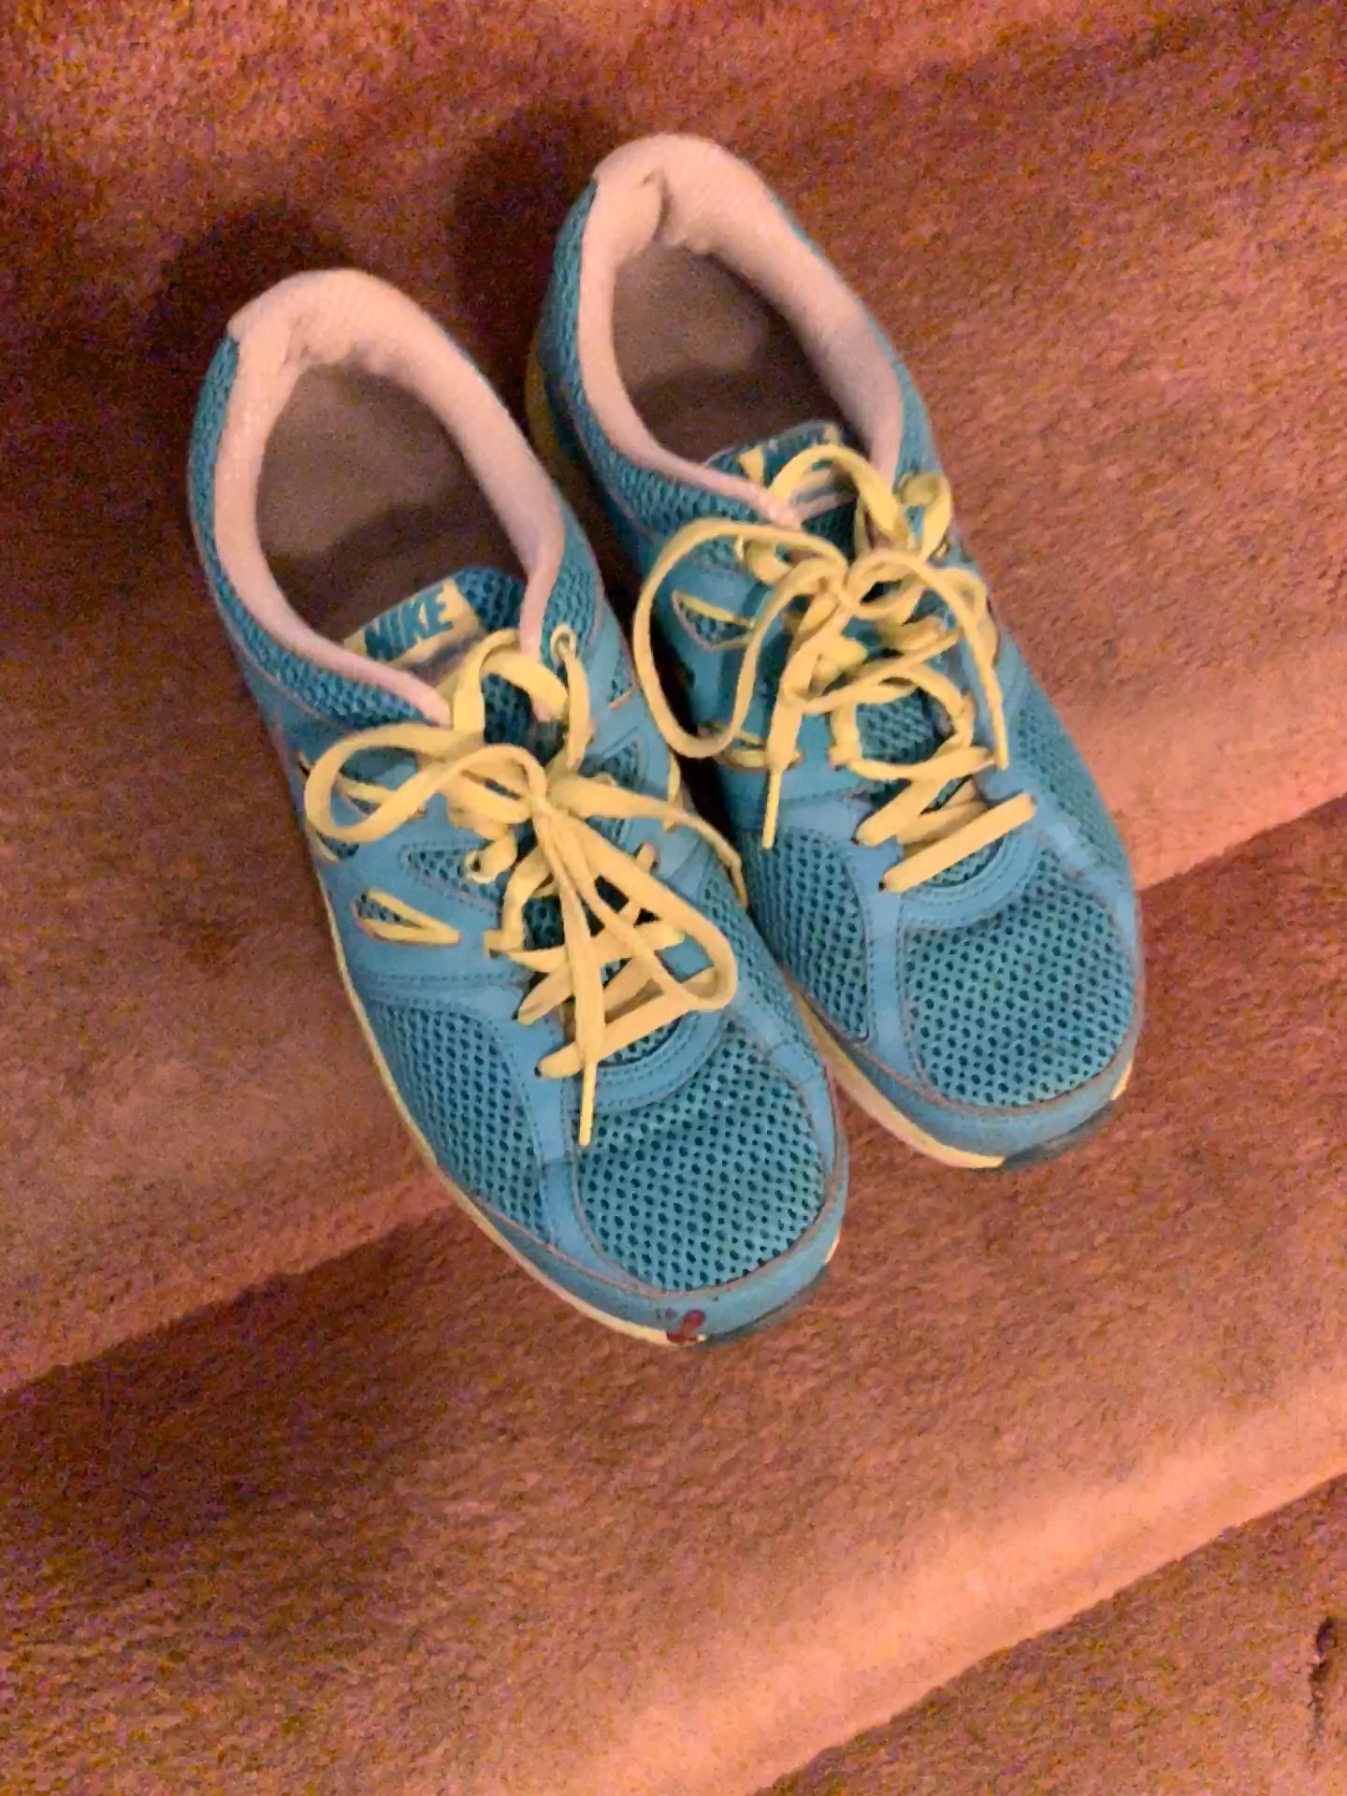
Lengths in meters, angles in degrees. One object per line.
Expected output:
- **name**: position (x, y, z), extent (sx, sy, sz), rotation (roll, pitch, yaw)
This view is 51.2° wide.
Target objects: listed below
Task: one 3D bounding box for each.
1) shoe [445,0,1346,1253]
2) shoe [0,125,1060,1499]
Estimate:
- **shoe**: position (0.051, -0.069, 0.354), extent (0.110, 0.100, 0.281), rotation (-23, 75, -11)
- **shoe**: position (-0.044, -0.025, 0.334), extent (0.110, 0.100, 0.281), rotation (-25, 76, -12)
